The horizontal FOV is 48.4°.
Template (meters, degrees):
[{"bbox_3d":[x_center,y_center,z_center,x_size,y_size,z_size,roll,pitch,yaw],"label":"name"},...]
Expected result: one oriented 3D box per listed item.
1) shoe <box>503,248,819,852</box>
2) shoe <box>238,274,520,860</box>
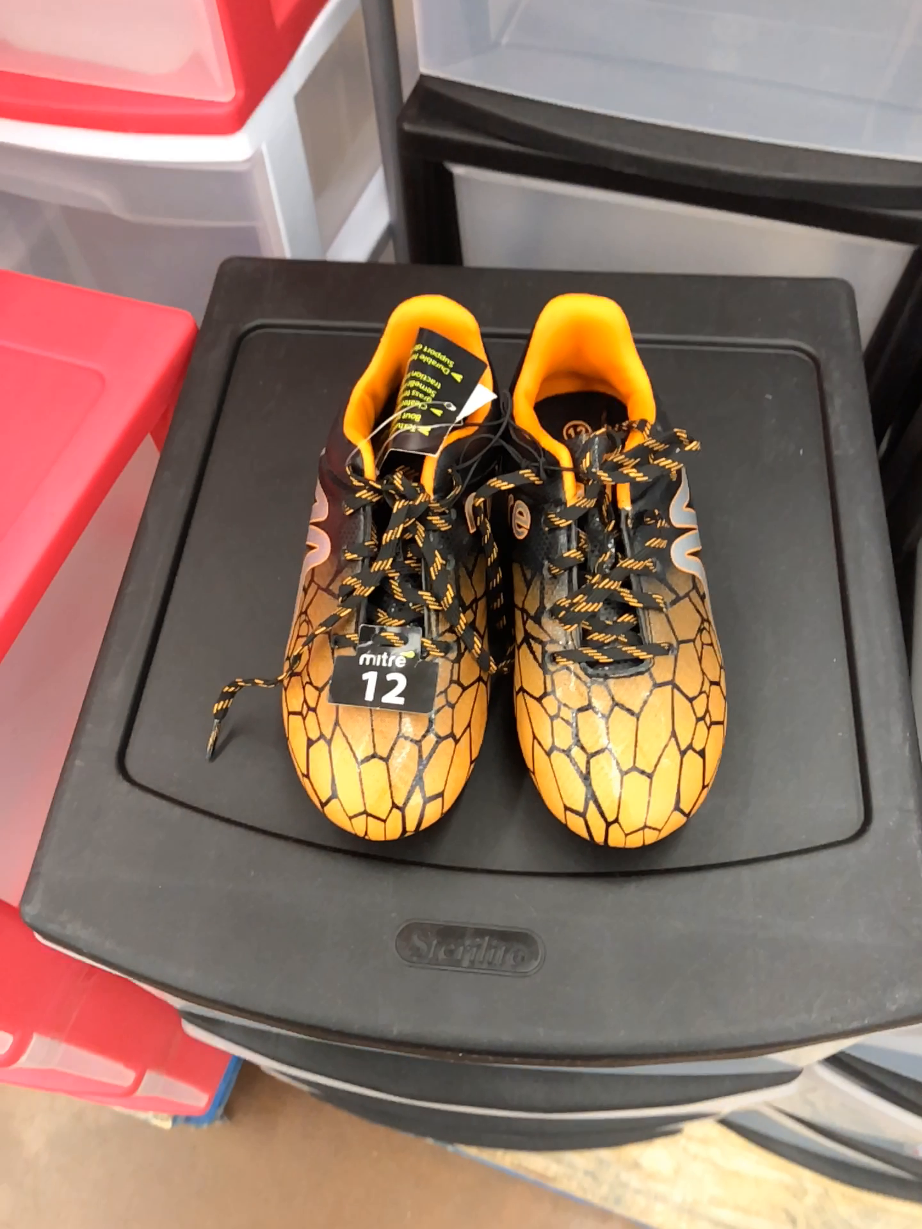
[{"bbox_3d":[0.057,-0.027,0.353,0.080,0.070,0.200,-1,60,2],"label":"shoe"},{"bbox_3d":[-0.019,-0.022,0.374,0.080,0.080,0.200,0,60,3],"label":"shoe"}]
